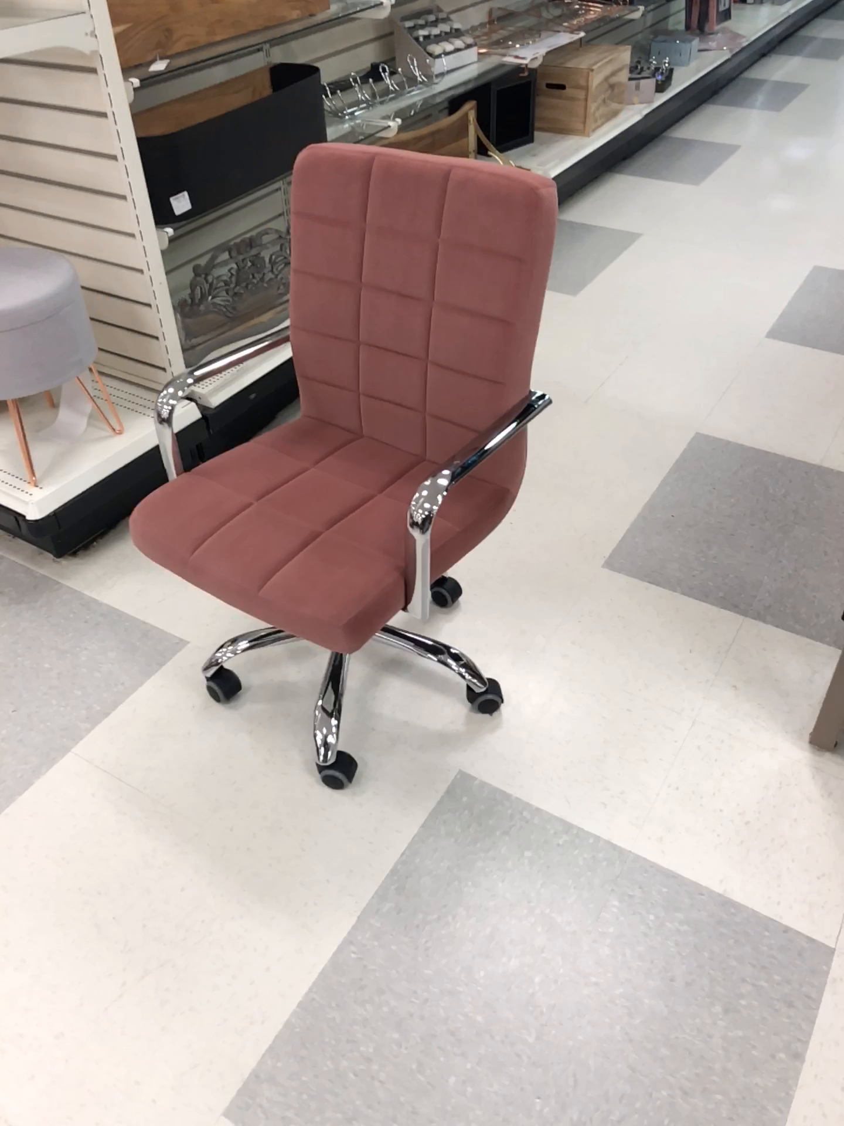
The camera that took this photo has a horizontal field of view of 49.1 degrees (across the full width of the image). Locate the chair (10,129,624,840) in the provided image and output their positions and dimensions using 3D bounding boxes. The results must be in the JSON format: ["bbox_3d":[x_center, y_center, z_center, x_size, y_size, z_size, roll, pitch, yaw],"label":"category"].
[{"bbox_3d":[-0.110,-0.143,1.465,0.575,0.819,0.564,23,45,27],"label":"chair"}]
